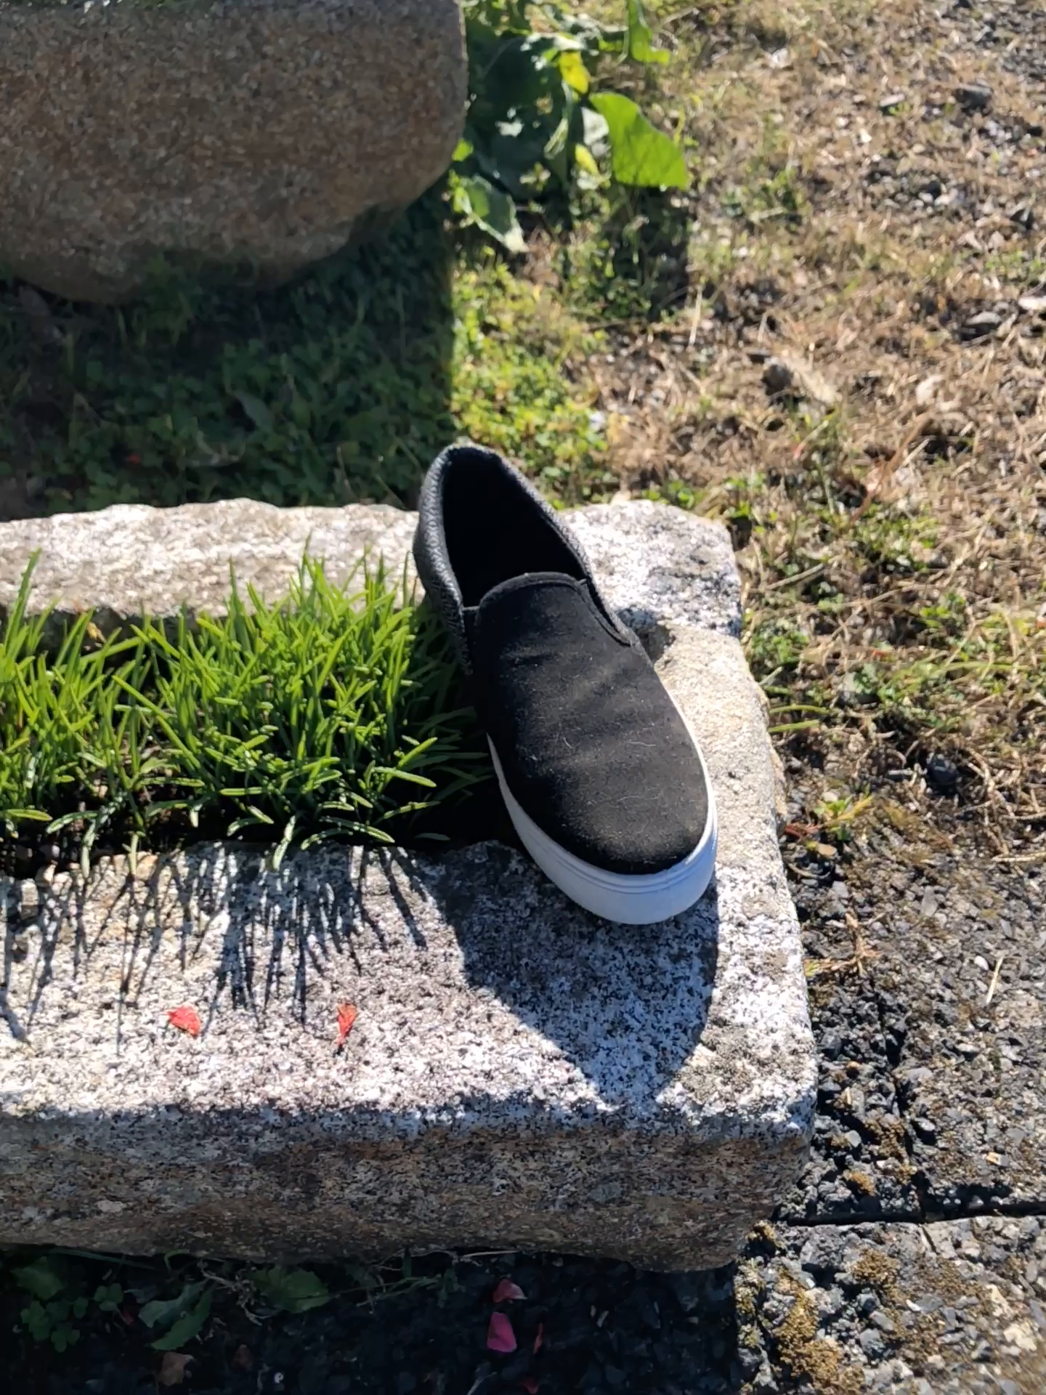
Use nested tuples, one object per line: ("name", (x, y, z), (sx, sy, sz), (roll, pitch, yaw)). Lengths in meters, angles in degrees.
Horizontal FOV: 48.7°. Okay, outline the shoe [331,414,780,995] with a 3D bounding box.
("shoe", (0.001, -0.013, 0.523), (0.100, 0.080, 0.261), (-17, 50, -13))
